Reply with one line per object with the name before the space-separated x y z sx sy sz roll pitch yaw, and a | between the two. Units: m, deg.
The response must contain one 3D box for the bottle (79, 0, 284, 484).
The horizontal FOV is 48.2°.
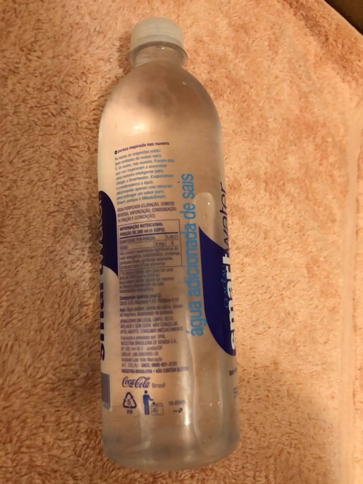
bottle | 0.000 -0.006 0.193 0.080 0.050 0.230 4 83 -46
